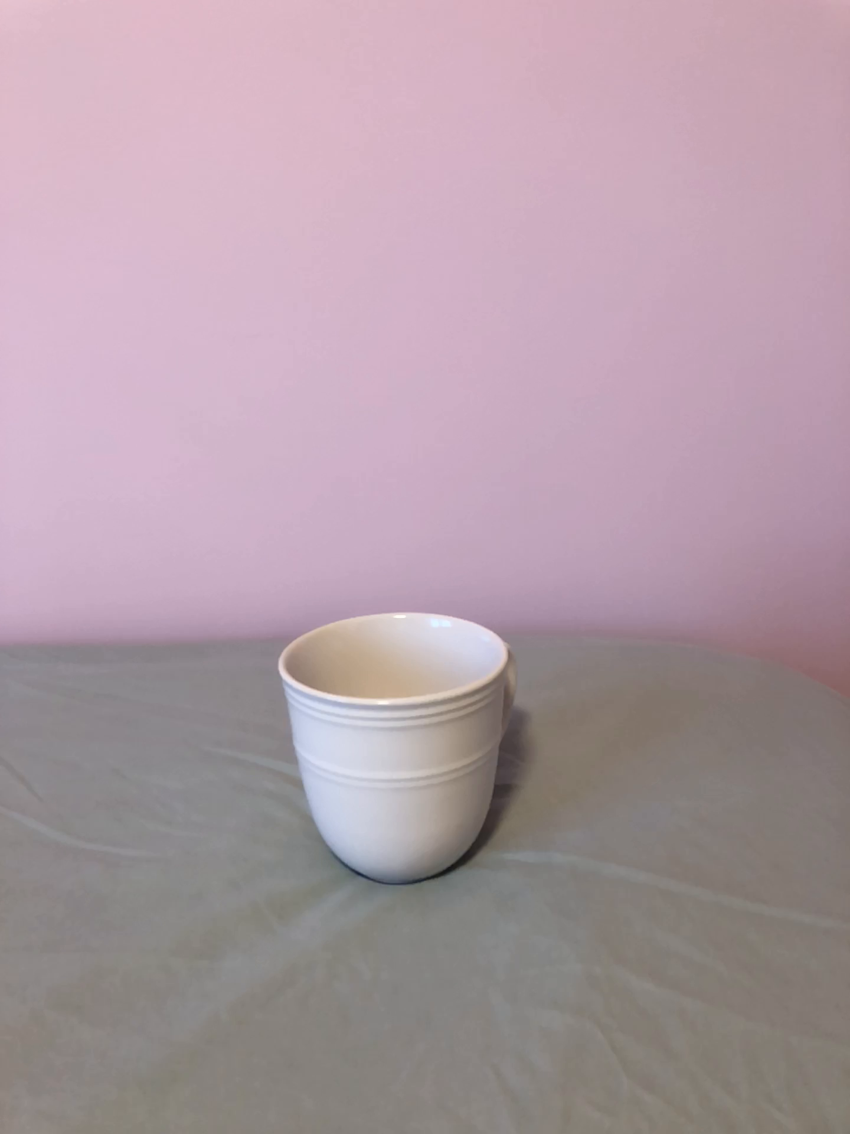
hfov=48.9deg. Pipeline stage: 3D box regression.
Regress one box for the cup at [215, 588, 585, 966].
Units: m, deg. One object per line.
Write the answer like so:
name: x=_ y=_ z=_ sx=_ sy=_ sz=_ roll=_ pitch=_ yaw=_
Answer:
cup: x=-0.007 y=0.087 z=0.444 sx=0.100 sy=0.100 sz=0.140 roll=15 pitch=25 yaw=41
